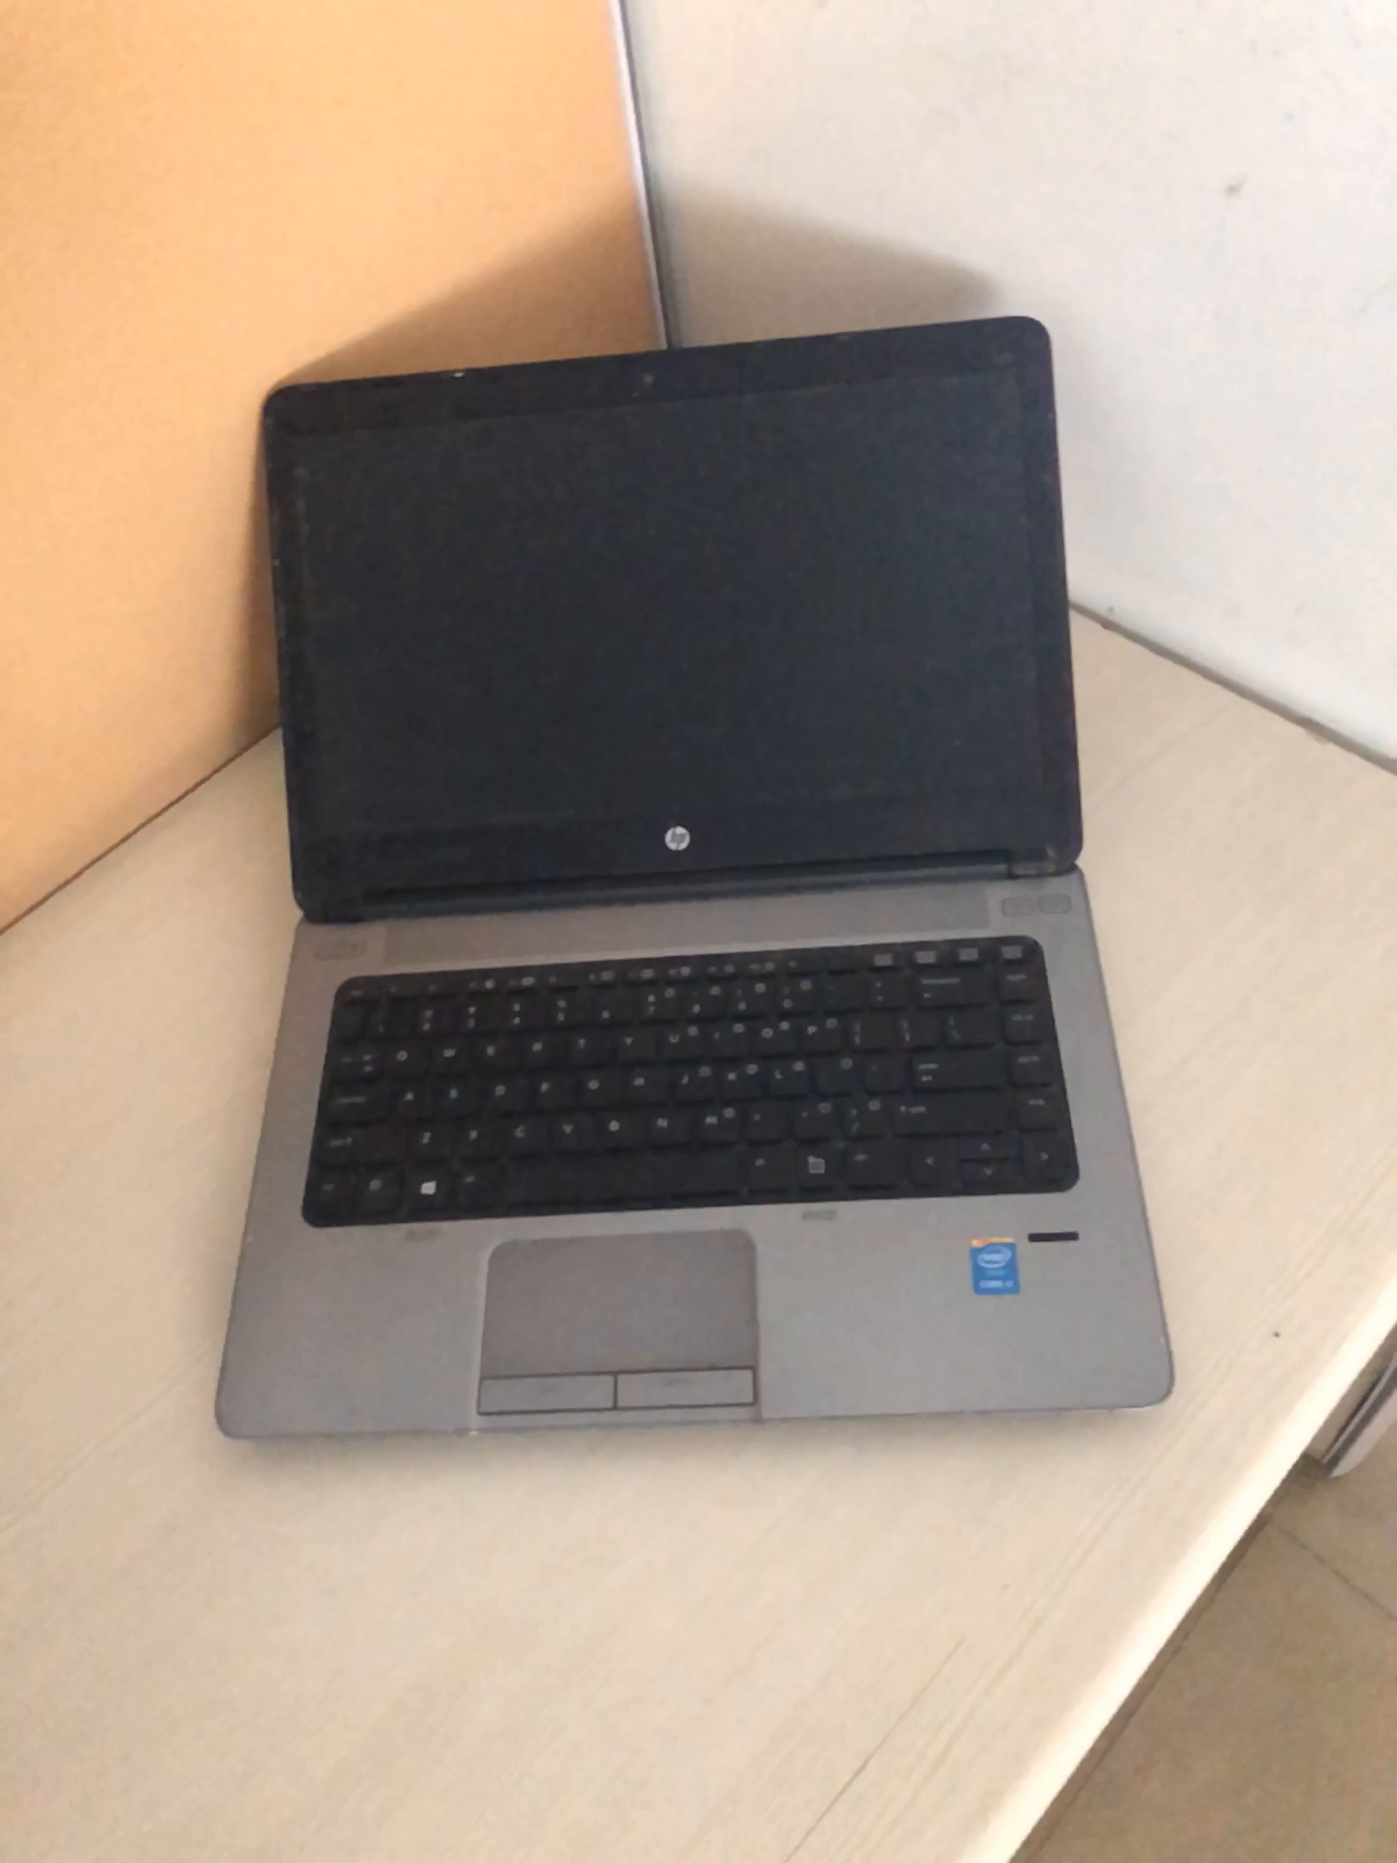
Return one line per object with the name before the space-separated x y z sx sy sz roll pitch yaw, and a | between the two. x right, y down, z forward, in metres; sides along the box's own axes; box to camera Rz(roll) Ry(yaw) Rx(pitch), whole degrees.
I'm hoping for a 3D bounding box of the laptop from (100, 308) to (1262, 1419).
laptop | -0.002 -0.042 0.574 0.316 0.125 0.392 -3 56 5
